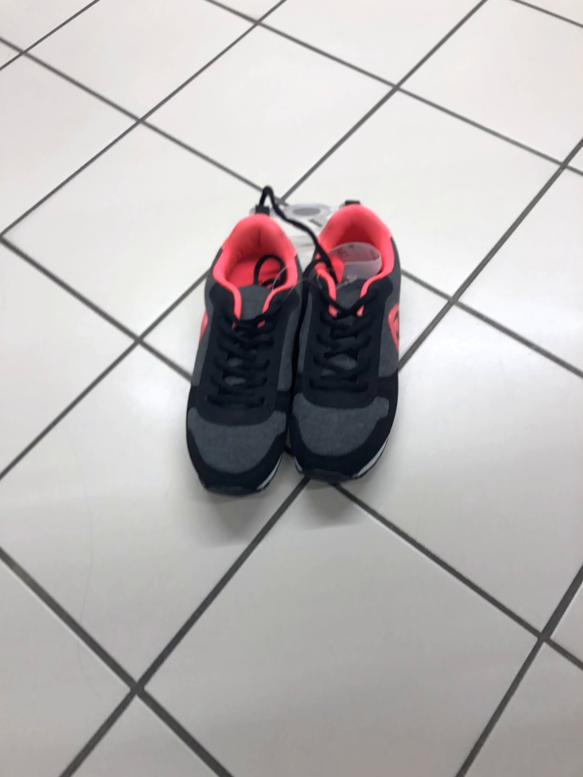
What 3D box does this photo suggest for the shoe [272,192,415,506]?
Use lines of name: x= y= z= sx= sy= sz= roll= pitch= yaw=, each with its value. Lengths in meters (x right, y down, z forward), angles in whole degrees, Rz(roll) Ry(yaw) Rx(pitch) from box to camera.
shoe: x=0.045 y=-0.033 z=0.500 sx=0.090 sy=0.100 sz=0.221 roll=3 pitch=63 yaw=6

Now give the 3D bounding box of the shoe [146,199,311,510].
shoe: x=-0.038 y=-0.029 z=0.504 sx=0.090 sy=0.100 sz=0.221 roll=2 pitch=63 yaw=5
